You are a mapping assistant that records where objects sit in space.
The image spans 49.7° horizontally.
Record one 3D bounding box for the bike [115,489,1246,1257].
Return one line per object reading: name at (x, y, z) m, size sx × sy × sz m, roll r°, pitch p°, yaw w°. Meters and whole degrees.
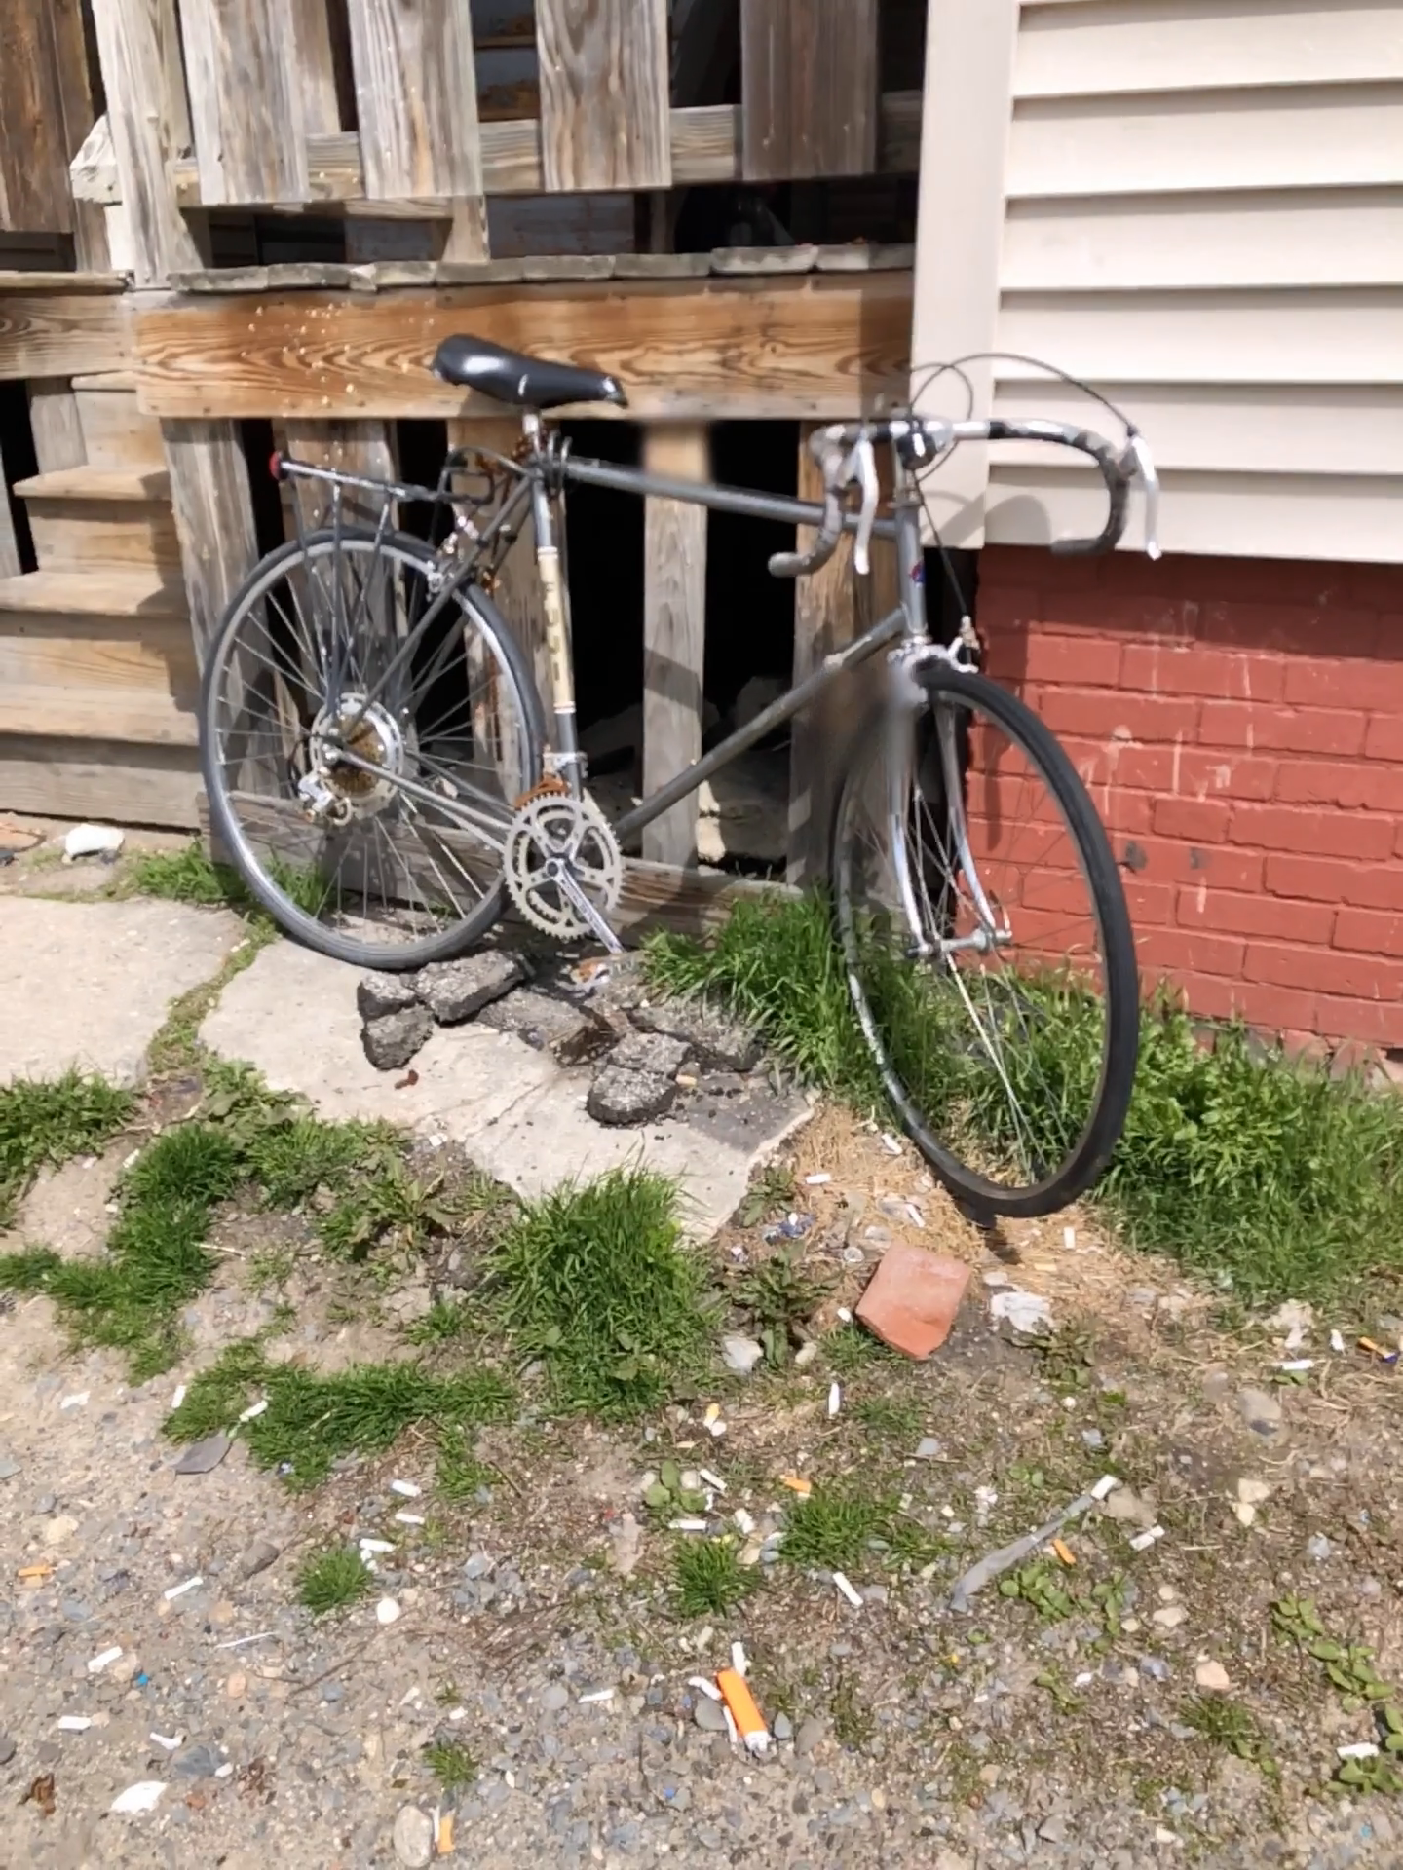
bike at (-0.086, -0.171, 1.629) m, size 1.202 × 0.479 × 0.400 m, roll 16°, pitch 27°, yaw 34°
